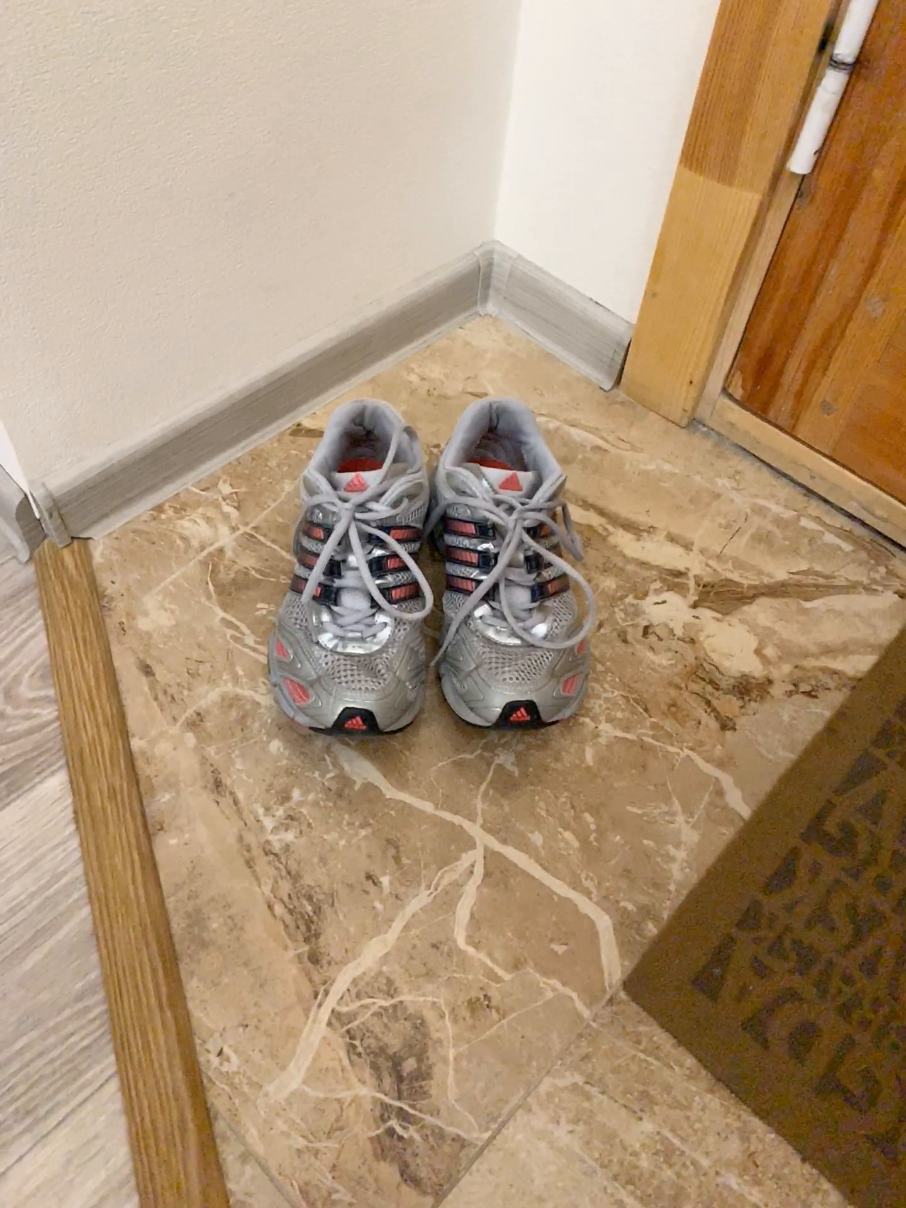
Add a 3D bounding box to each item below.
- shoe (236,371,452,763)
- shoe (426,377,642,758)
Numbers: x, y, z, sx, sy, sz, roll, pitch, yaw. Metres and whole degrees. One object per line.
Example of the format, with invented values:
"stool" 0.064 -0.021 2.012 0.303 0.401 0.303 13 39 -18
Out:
"shoe" -0.059 -0.031 0.586 0.110 0.090 0.241 3 52 -3
"shoe" 0.040 -0.031 0.599 0.110 0.090 0.241 2 52 -4
